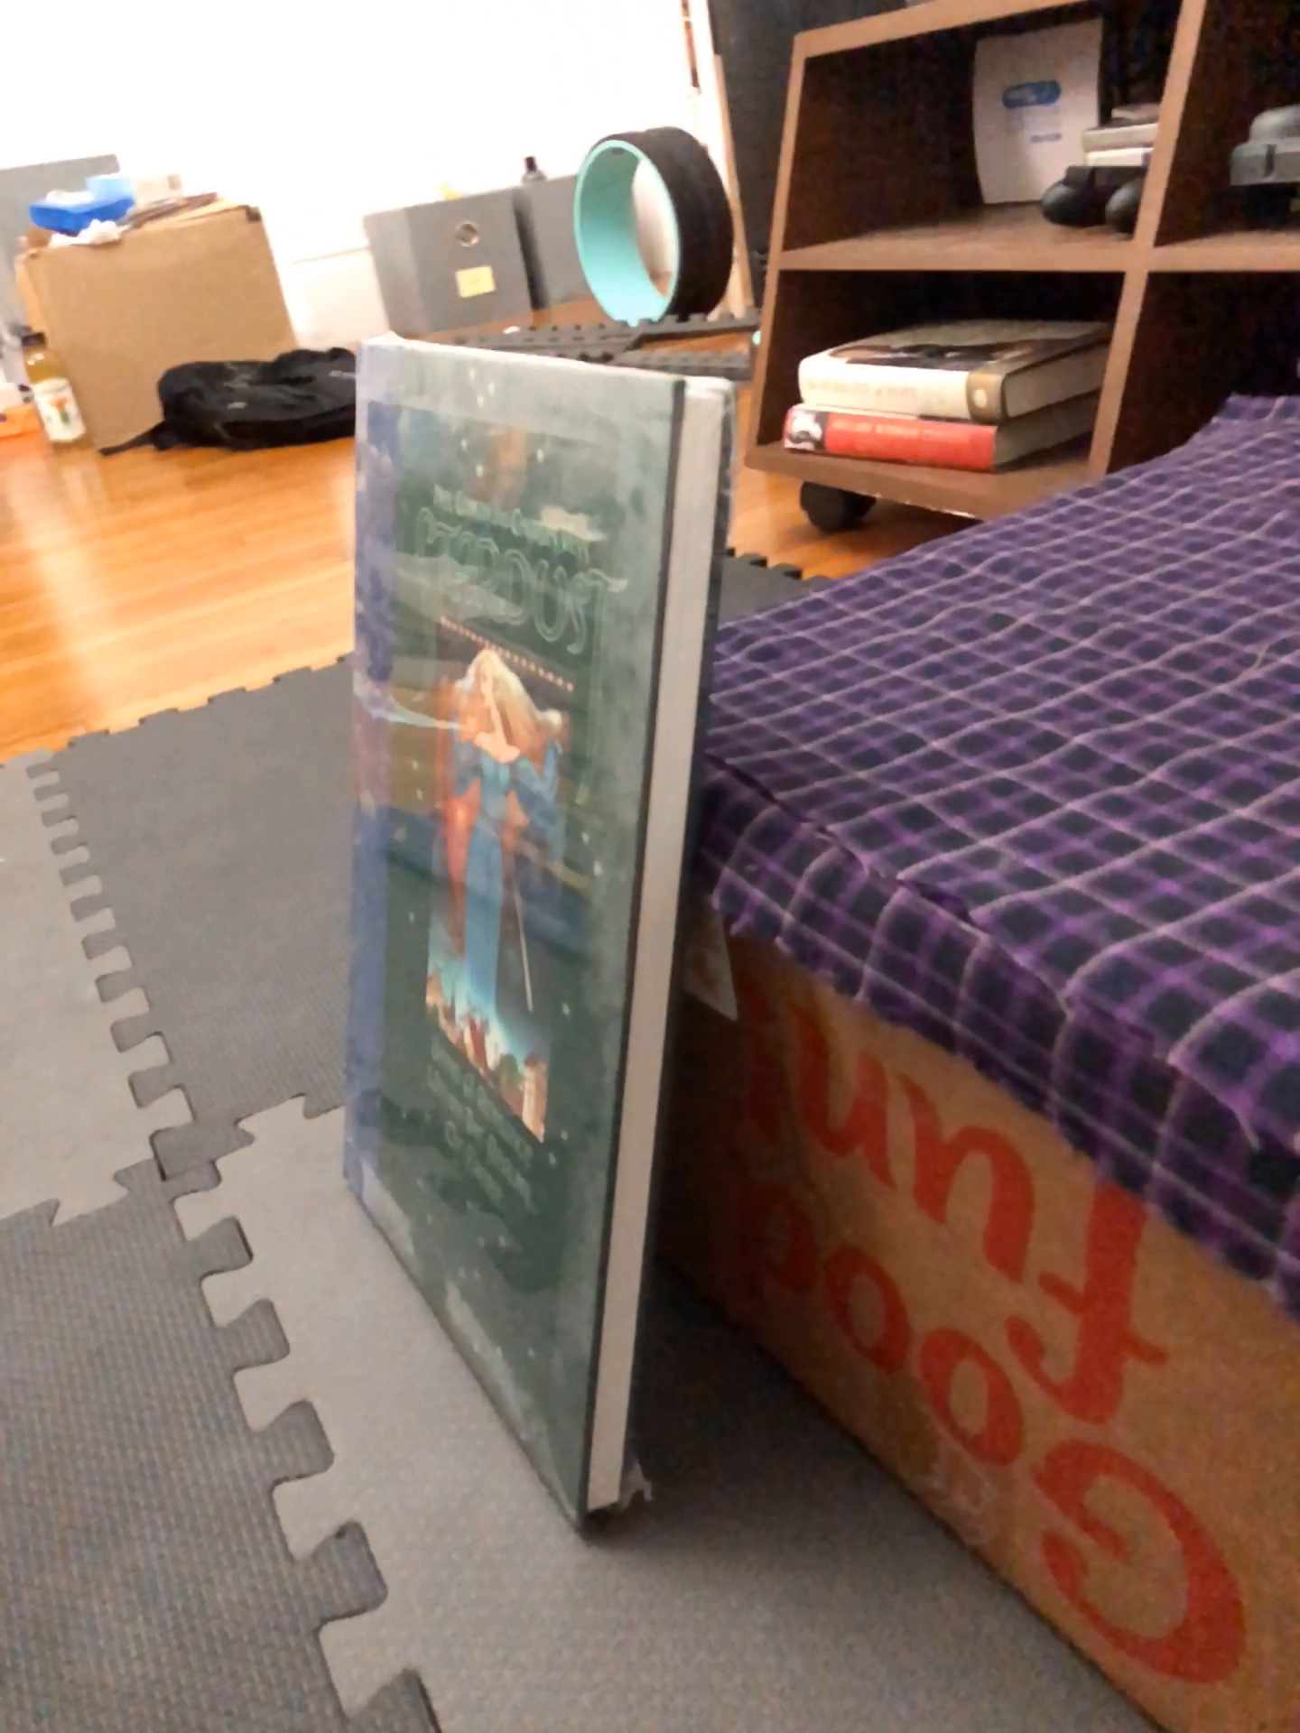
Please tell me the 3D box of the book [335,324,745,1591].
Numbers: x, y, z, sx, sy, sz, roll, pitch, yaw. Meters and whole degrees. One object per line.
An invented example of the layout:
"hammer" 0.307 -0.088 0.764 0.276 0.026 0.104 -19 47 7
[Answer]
"book" -0.053 0.011 0.436 0.020 0.329 0.211 -6 21 -29
